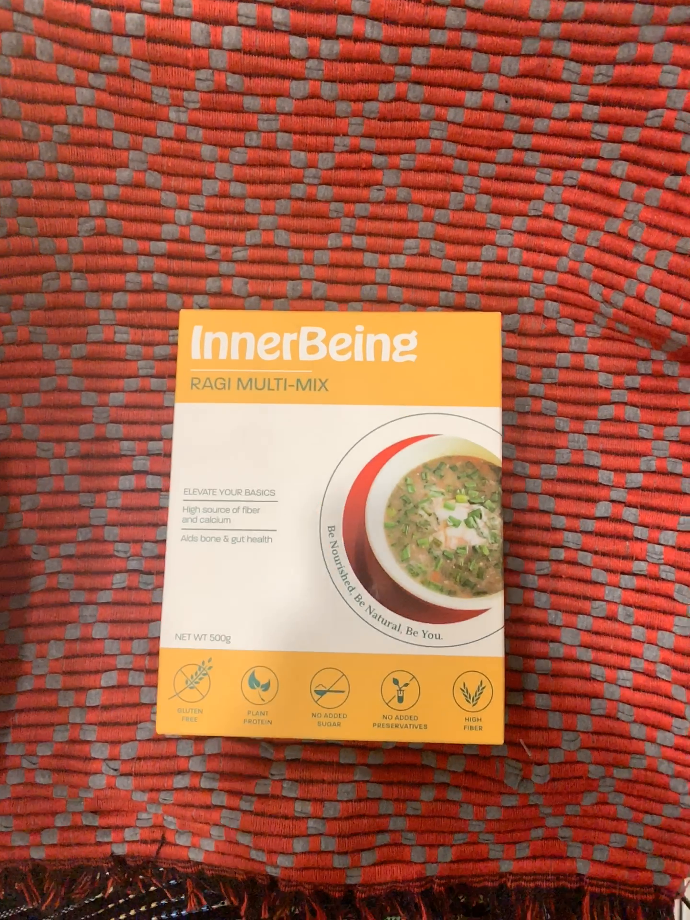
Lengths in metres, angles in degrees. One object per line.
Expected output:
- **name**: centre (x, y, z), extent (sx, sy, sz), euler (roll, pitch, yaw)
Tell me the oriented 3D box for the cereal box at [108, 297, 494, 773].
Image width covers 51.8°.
- **cereal box**: centre (-0.014, 0.030, 0.324), extent (0.150, 0.070, 0.190), euler (1, 81, 3)
